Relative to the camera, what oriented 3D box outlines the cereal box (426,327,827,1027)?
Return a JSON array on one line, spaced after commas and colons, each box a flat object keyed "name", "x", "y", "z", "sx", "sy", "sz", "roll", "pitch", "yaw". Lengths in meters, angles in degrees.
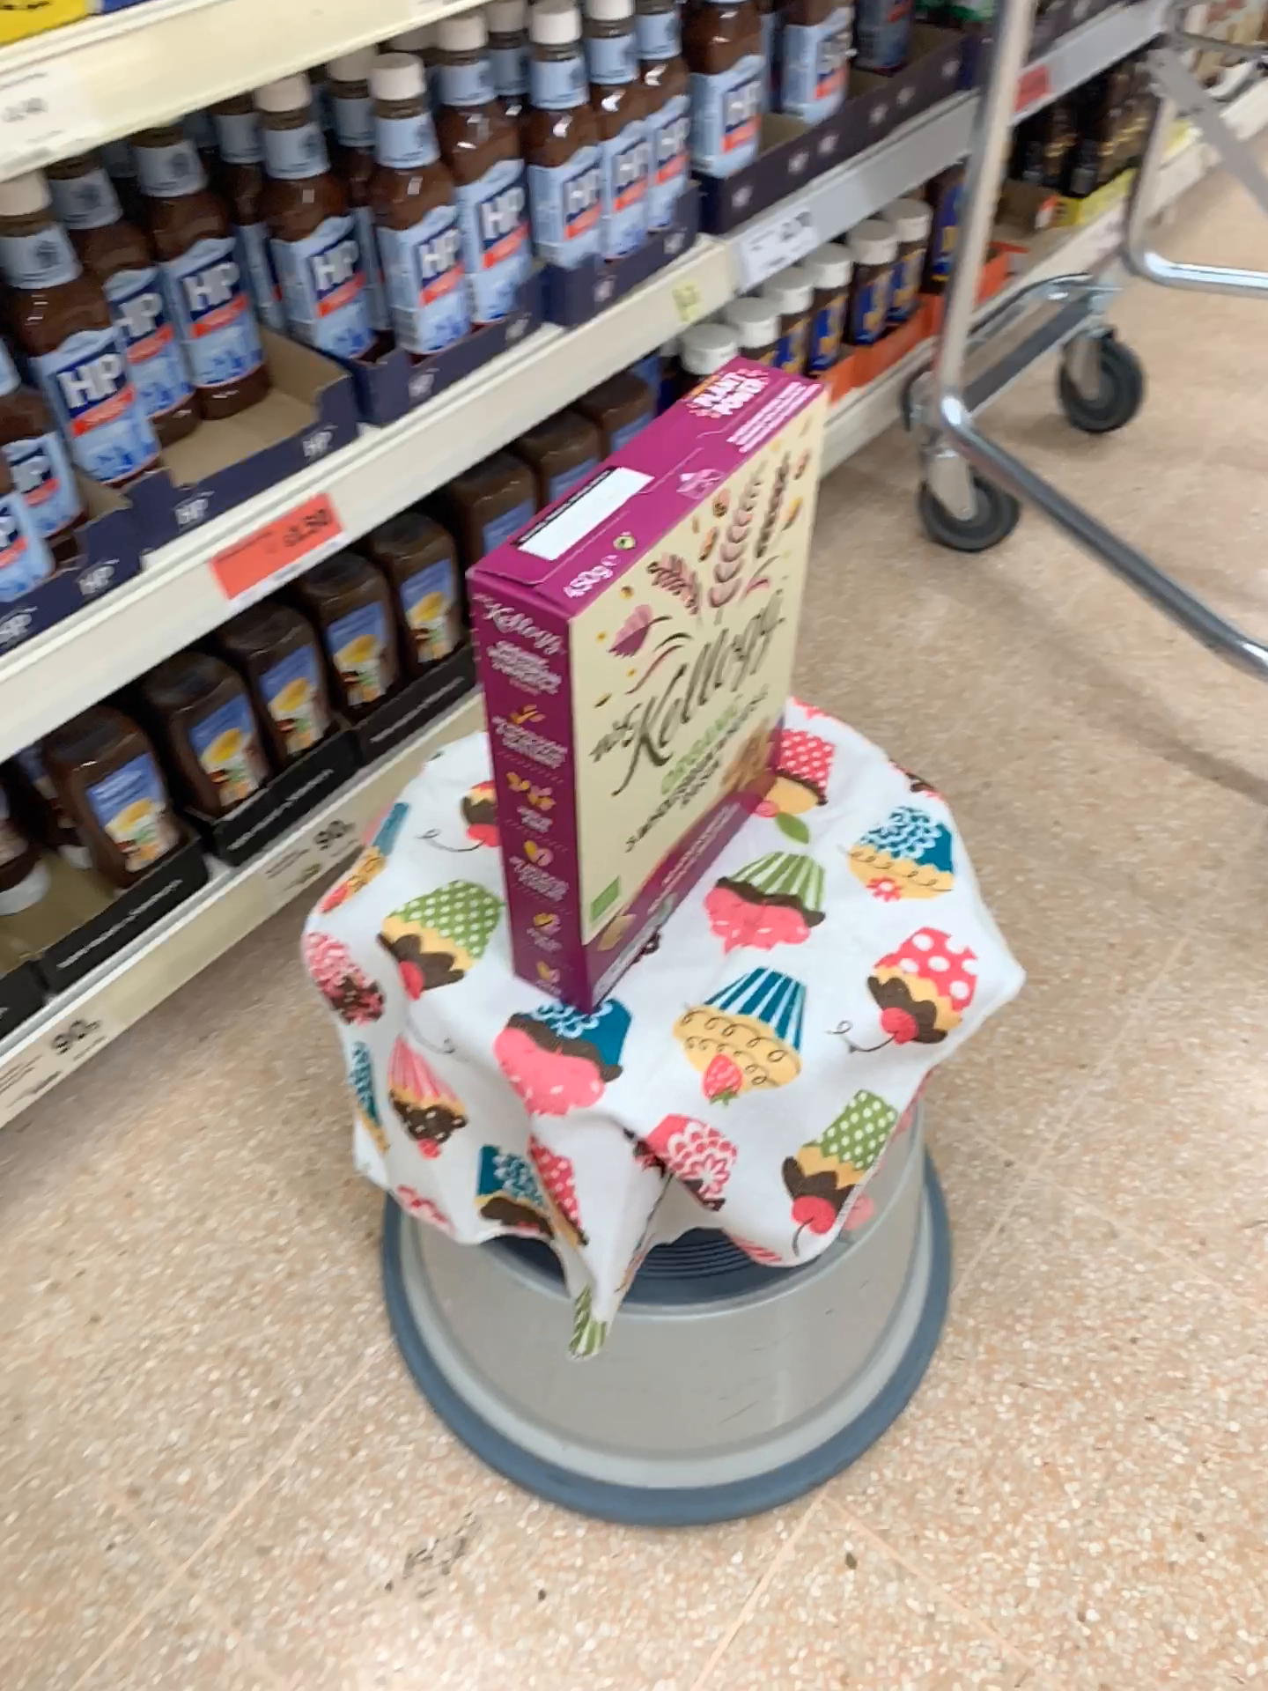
[{"name": "cereal box", "x": 0.006, "y": -0.070, "z": 0.590, "sx": 0.050, "sy": 0.248, "sz": 0.201, "roll": 26, "pitch": 53, "yaw": 22}]
